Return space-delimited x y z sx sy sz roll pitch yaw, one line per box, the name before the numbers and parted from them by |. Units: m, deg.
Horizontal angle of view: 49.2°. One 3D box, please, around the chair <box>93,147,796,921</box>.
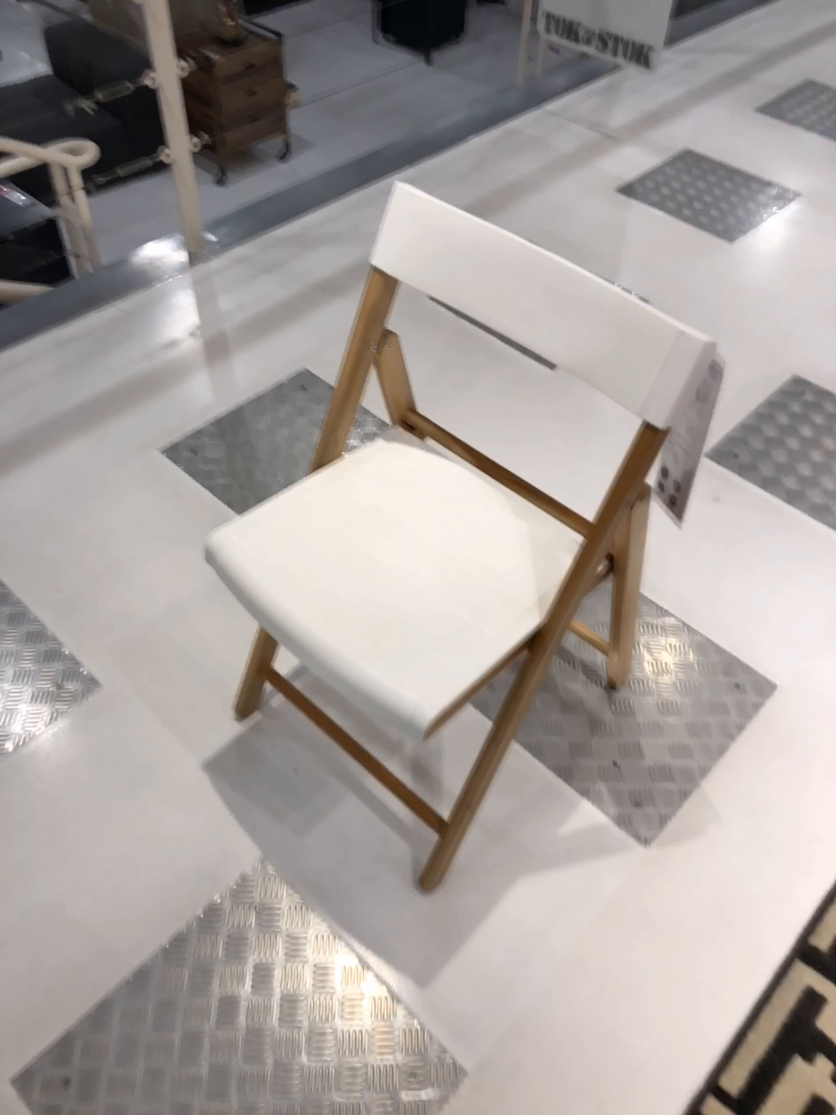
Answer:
chair | 0.030 -0.021 1.193 0.471 0.705 0.552 35 56 25
